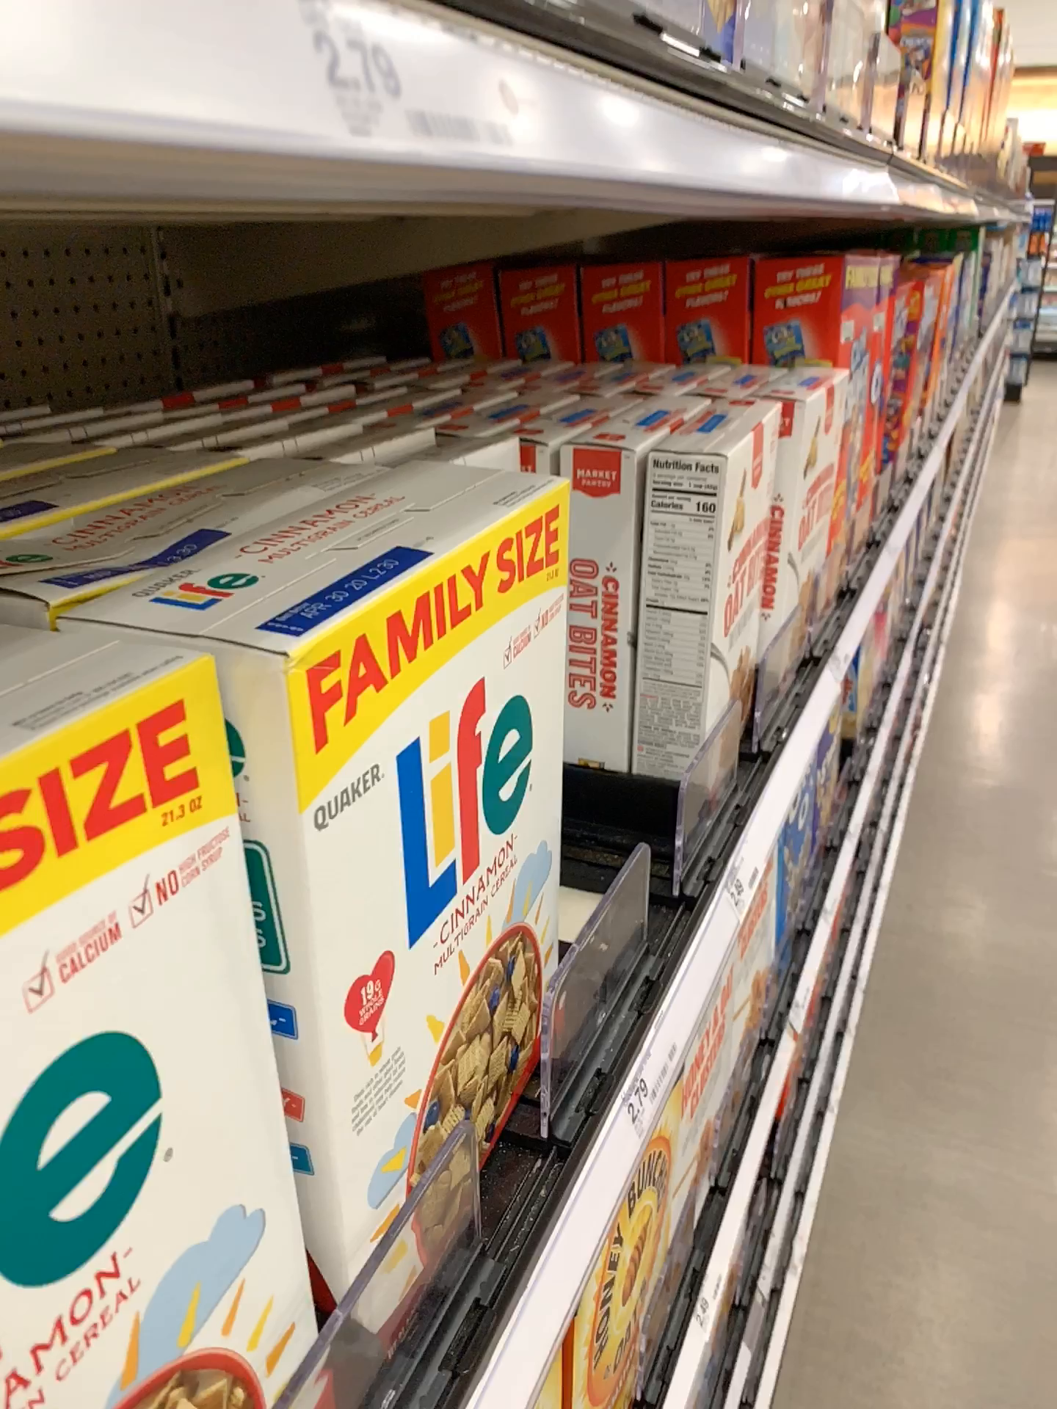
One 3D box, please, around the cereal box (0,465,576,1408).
[{"bbox_3d":[-0.054,0.068,0.380,0.070,0.259,0.191,11,27,23],"label":"cereal box"}]
